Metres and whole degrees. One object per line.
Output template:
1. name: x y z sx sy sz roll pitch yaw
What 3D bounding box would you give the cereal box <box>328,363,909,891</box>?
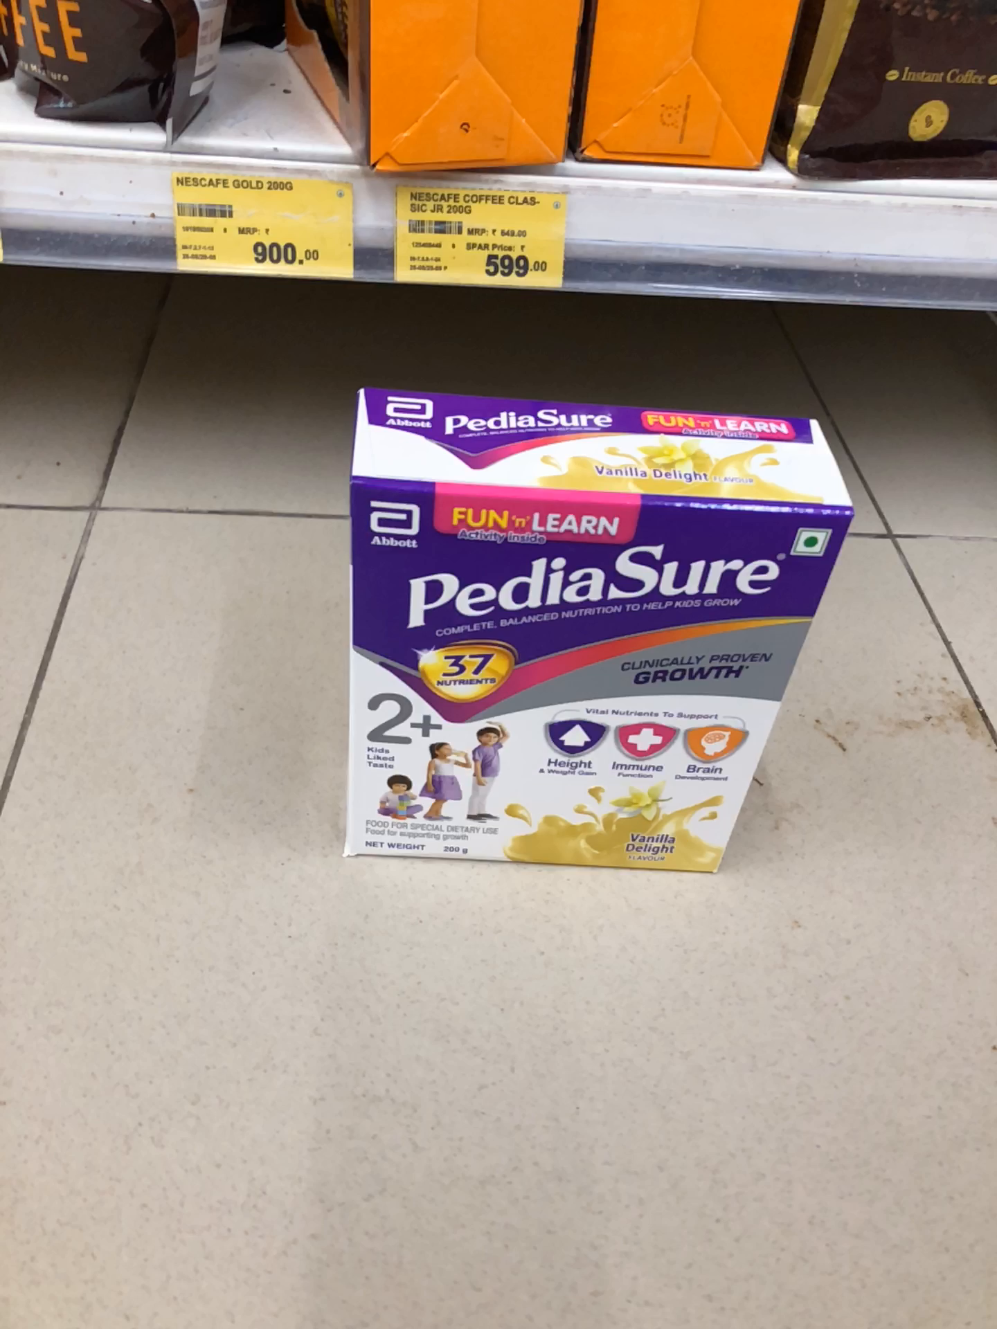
1. cereal box: 0.023 -0.001 0.335 0.140 0.159 0.050 4 44 -4
